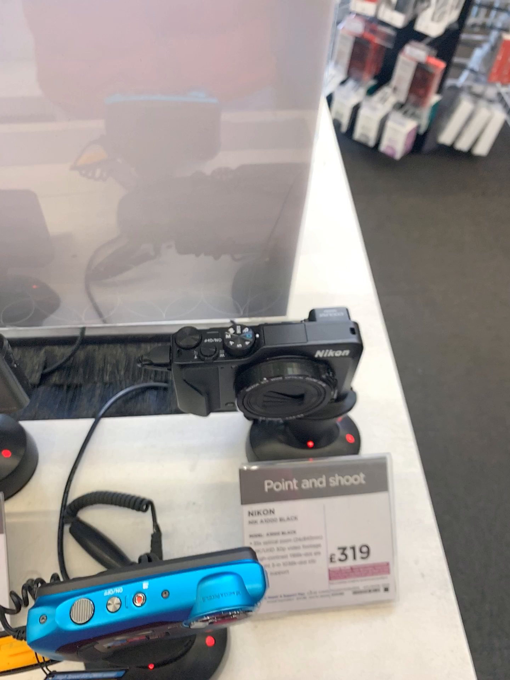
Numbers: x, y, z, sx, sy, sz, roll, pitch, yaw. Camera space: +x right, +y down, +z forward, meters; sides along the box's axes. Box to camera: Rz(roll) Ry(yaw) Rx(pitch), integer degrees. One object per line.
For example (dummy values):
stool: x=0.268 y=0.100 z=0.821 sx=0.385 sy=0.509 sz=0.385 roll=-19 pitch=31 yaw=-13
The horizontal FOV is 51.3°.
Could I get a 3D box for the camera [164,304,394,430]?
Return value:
camera: x=0.010 y=0.018 z=0.315 sx=0.120 sy=0.079 sz=0.030 roll=-3 pitch=54 yaw=-6
